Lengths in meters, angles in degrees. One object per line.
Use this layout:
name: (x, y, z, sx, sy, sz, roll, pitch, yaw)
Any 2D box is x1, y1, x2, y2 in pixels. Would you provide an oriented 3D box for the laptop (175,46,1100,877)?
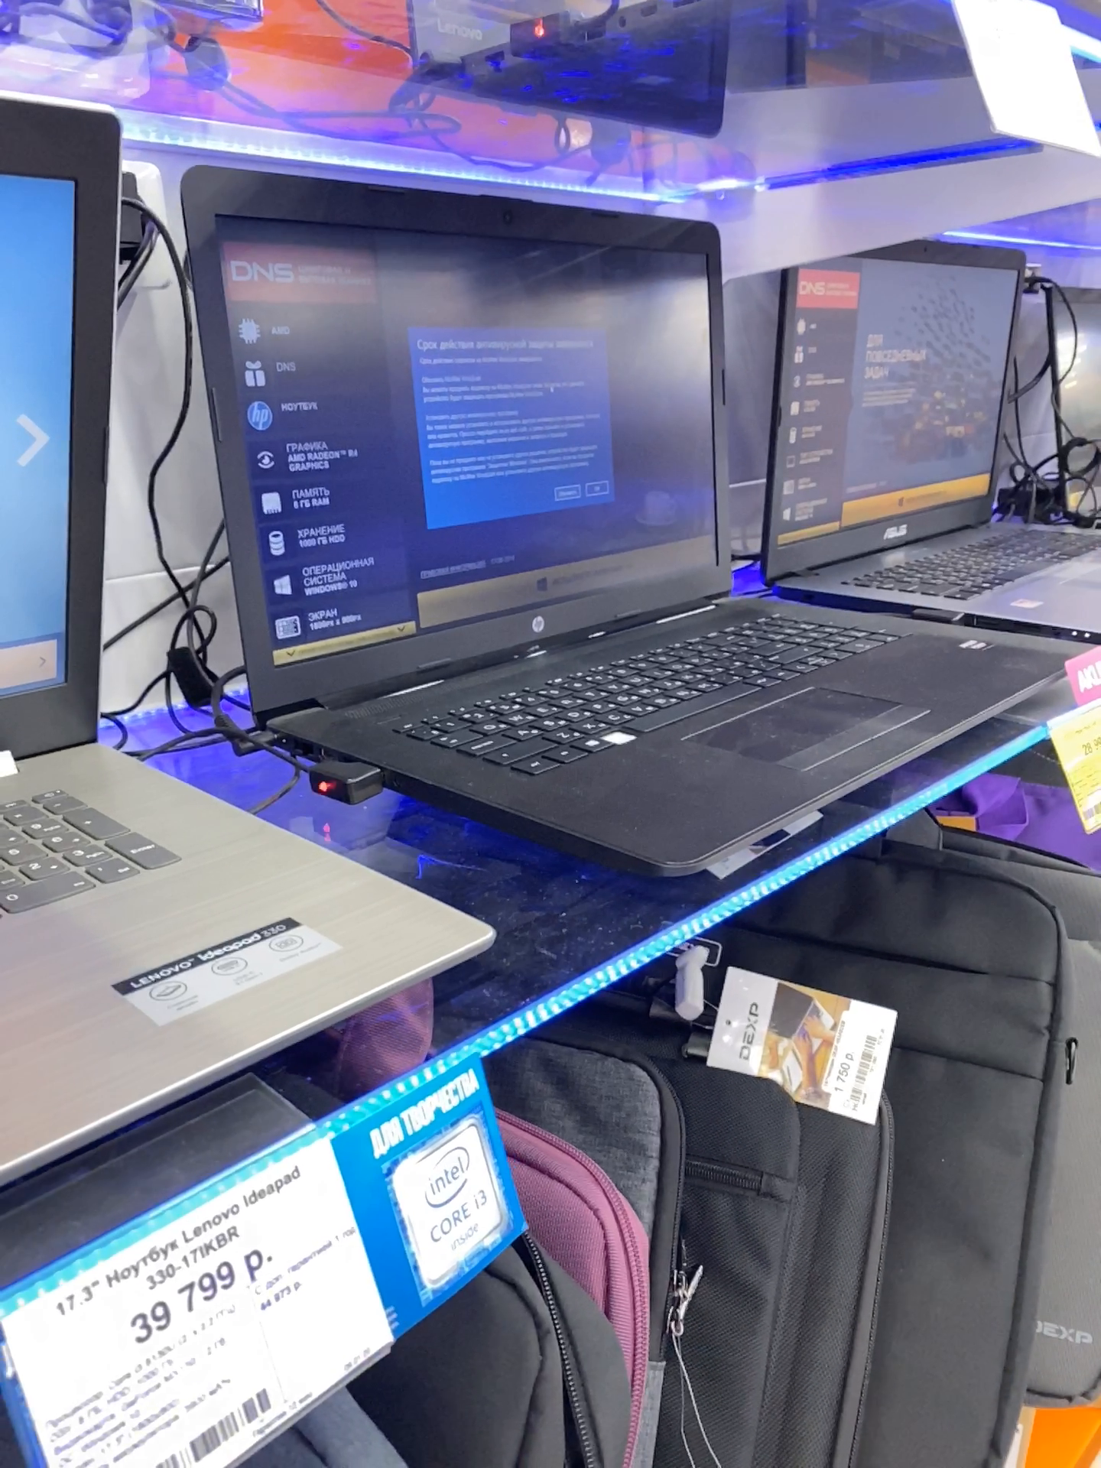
laptop: (0.080, -0.152, 0.605, 0.294, 0.260, 0.420, 15, 23, 41)
